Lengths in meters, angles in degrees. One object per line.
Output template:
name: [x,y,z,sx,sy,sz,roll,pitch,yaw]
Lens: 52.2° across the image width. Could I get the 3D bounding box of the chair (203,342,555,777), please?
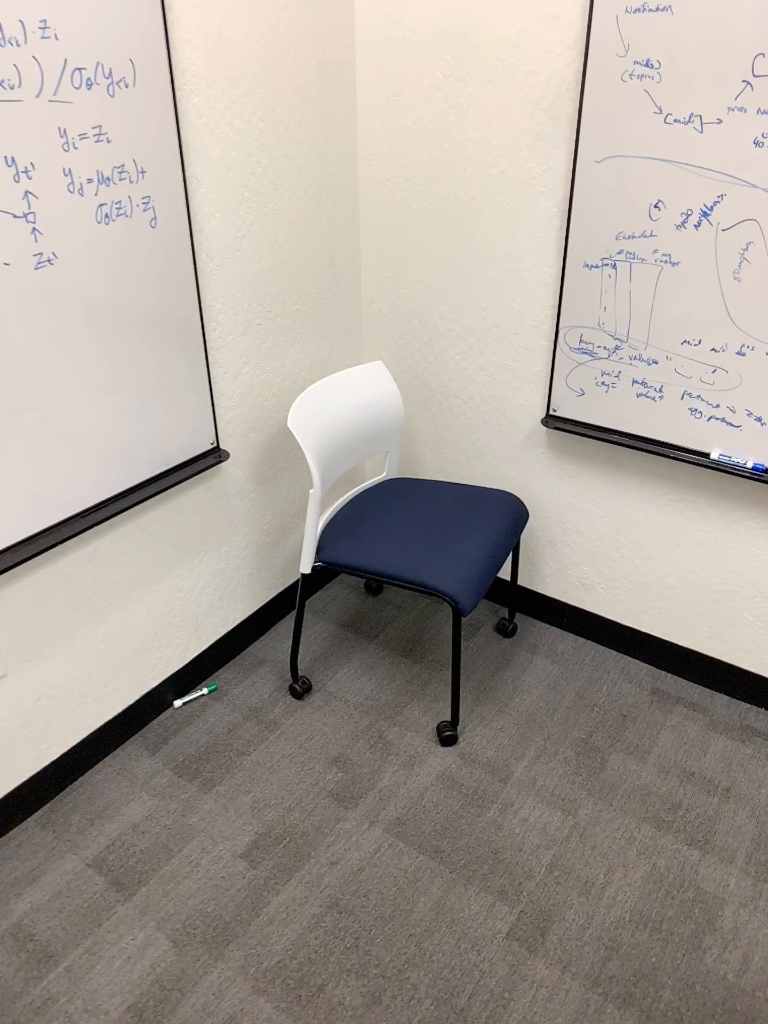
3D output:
chair: [0.023,0.081,2.182,0.641,0.835,0.703,14,33,23]
